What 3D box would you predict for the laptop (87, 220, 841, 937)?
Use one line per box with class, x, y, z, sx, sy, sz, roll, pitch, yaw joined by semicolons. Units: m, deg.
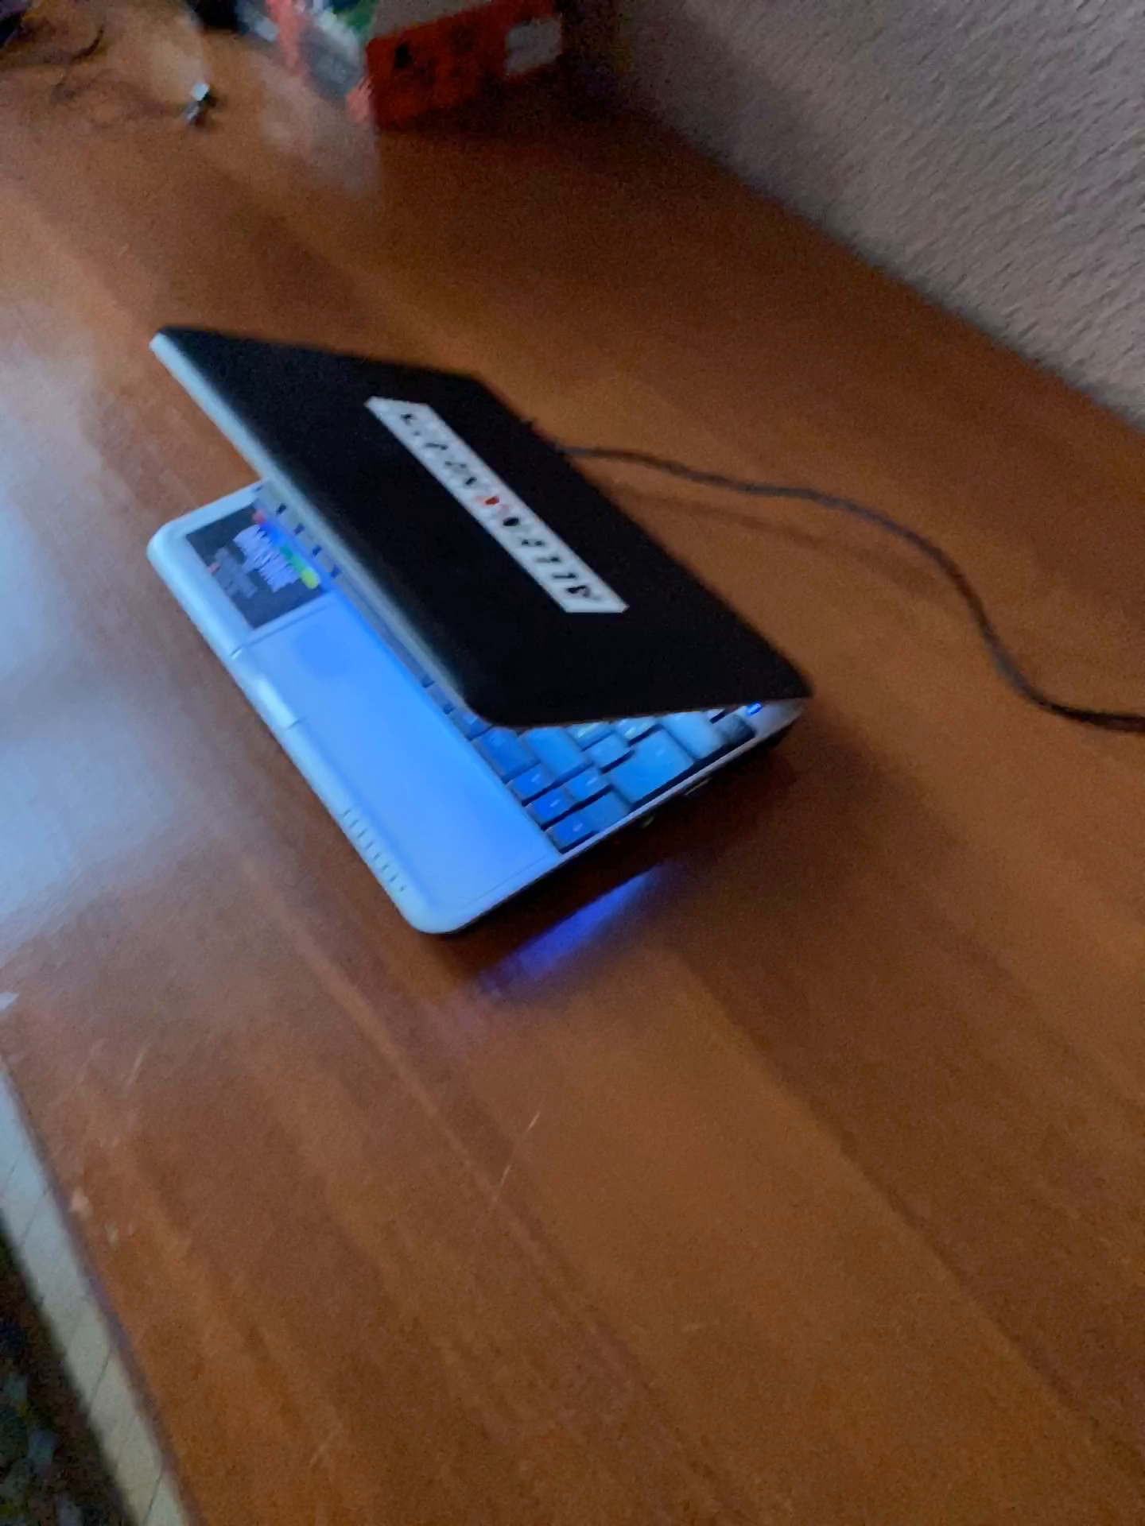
laptop;-0.055;-0.093;0.475;0.173;0.088;0.267;-30;57;-17
